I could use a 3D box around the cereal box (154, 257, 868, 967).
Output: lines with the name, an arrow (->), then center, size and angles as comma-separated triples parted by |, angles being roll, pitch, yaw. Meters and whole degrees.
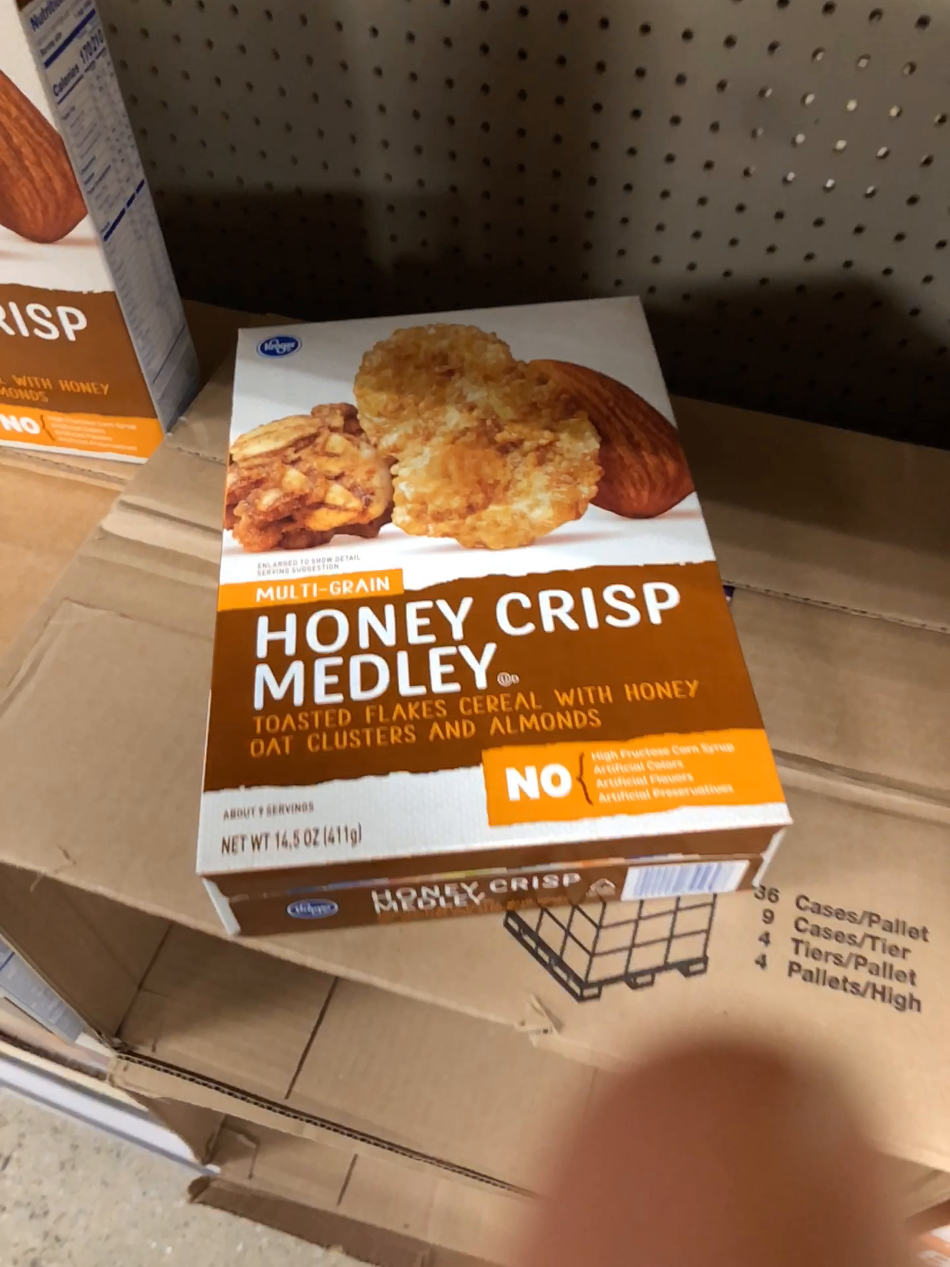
cereal box -> -0.001, -0.028, 0.397 | 0.200, 0.060, 0.271 | -5, 54, -2
